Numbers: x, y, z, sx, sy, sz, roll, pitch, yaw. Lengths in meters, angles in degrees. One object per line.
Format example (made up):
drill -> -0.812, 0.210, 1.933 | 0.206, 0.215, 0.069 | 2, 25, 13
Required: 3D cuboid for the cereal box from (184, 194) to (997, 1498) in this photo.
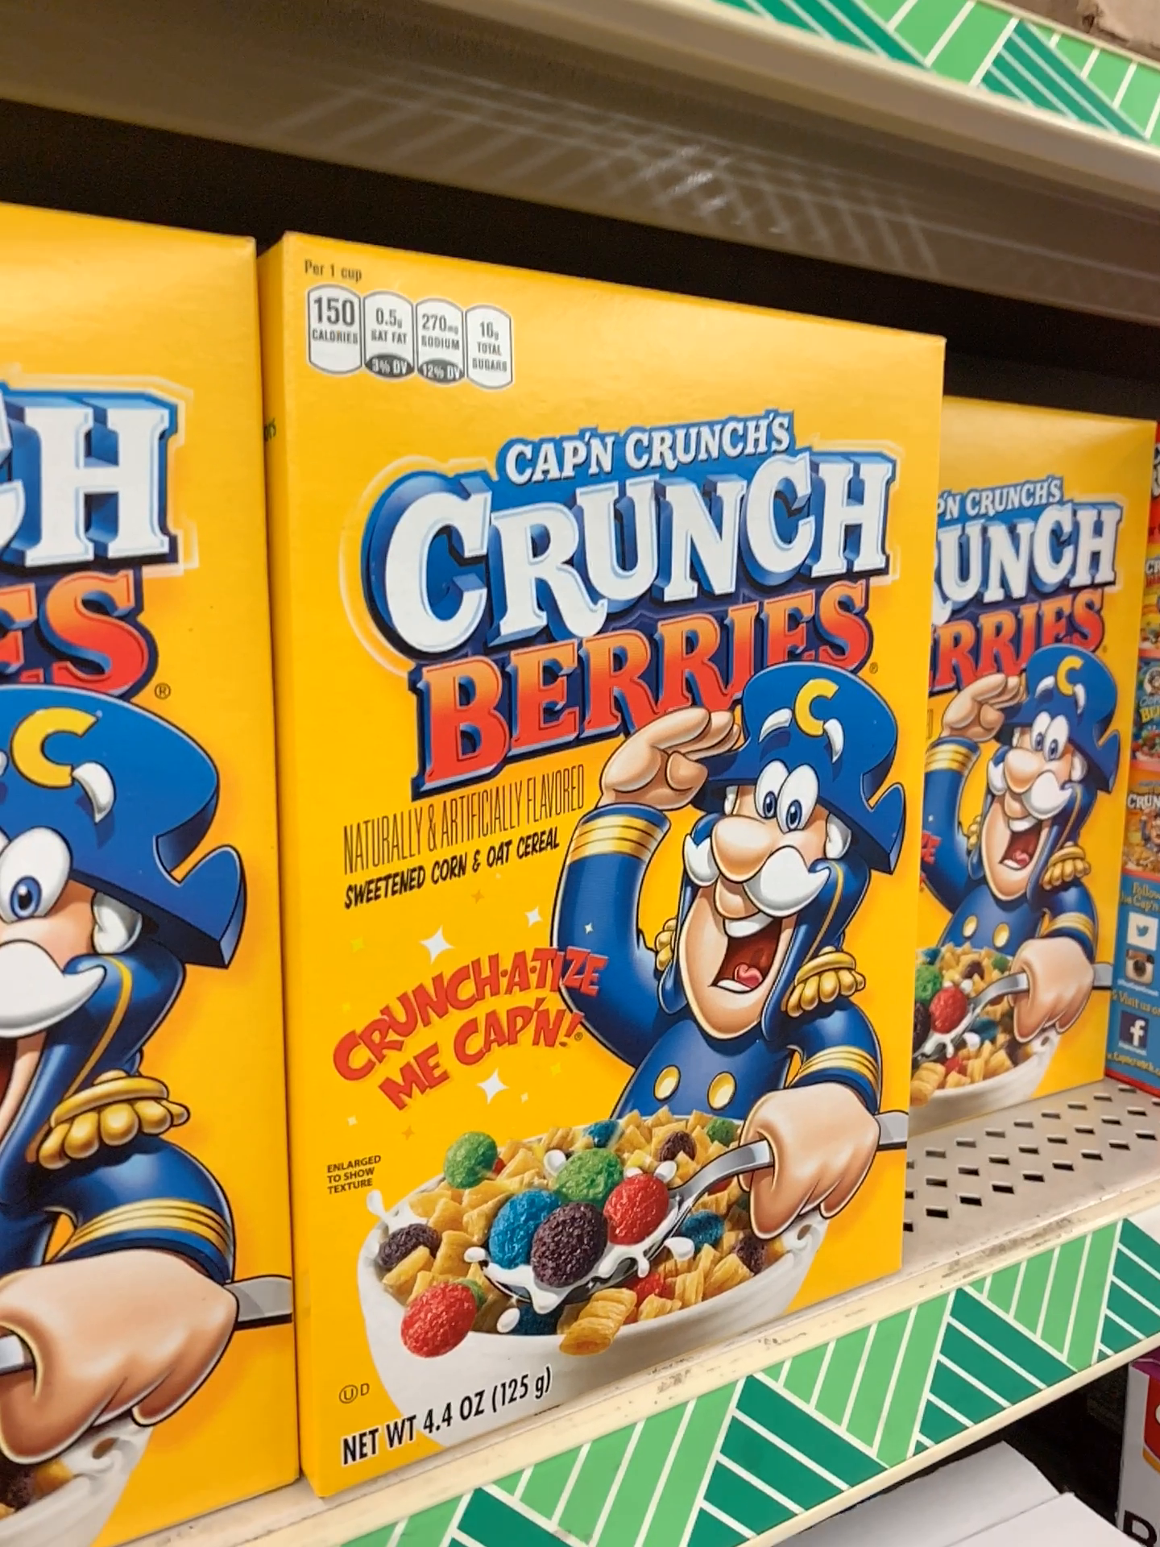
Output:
cereal box -> 0.008, 0.009, 0.241 | 0.150, 0.200, 0.050 | -5, 9, -31
